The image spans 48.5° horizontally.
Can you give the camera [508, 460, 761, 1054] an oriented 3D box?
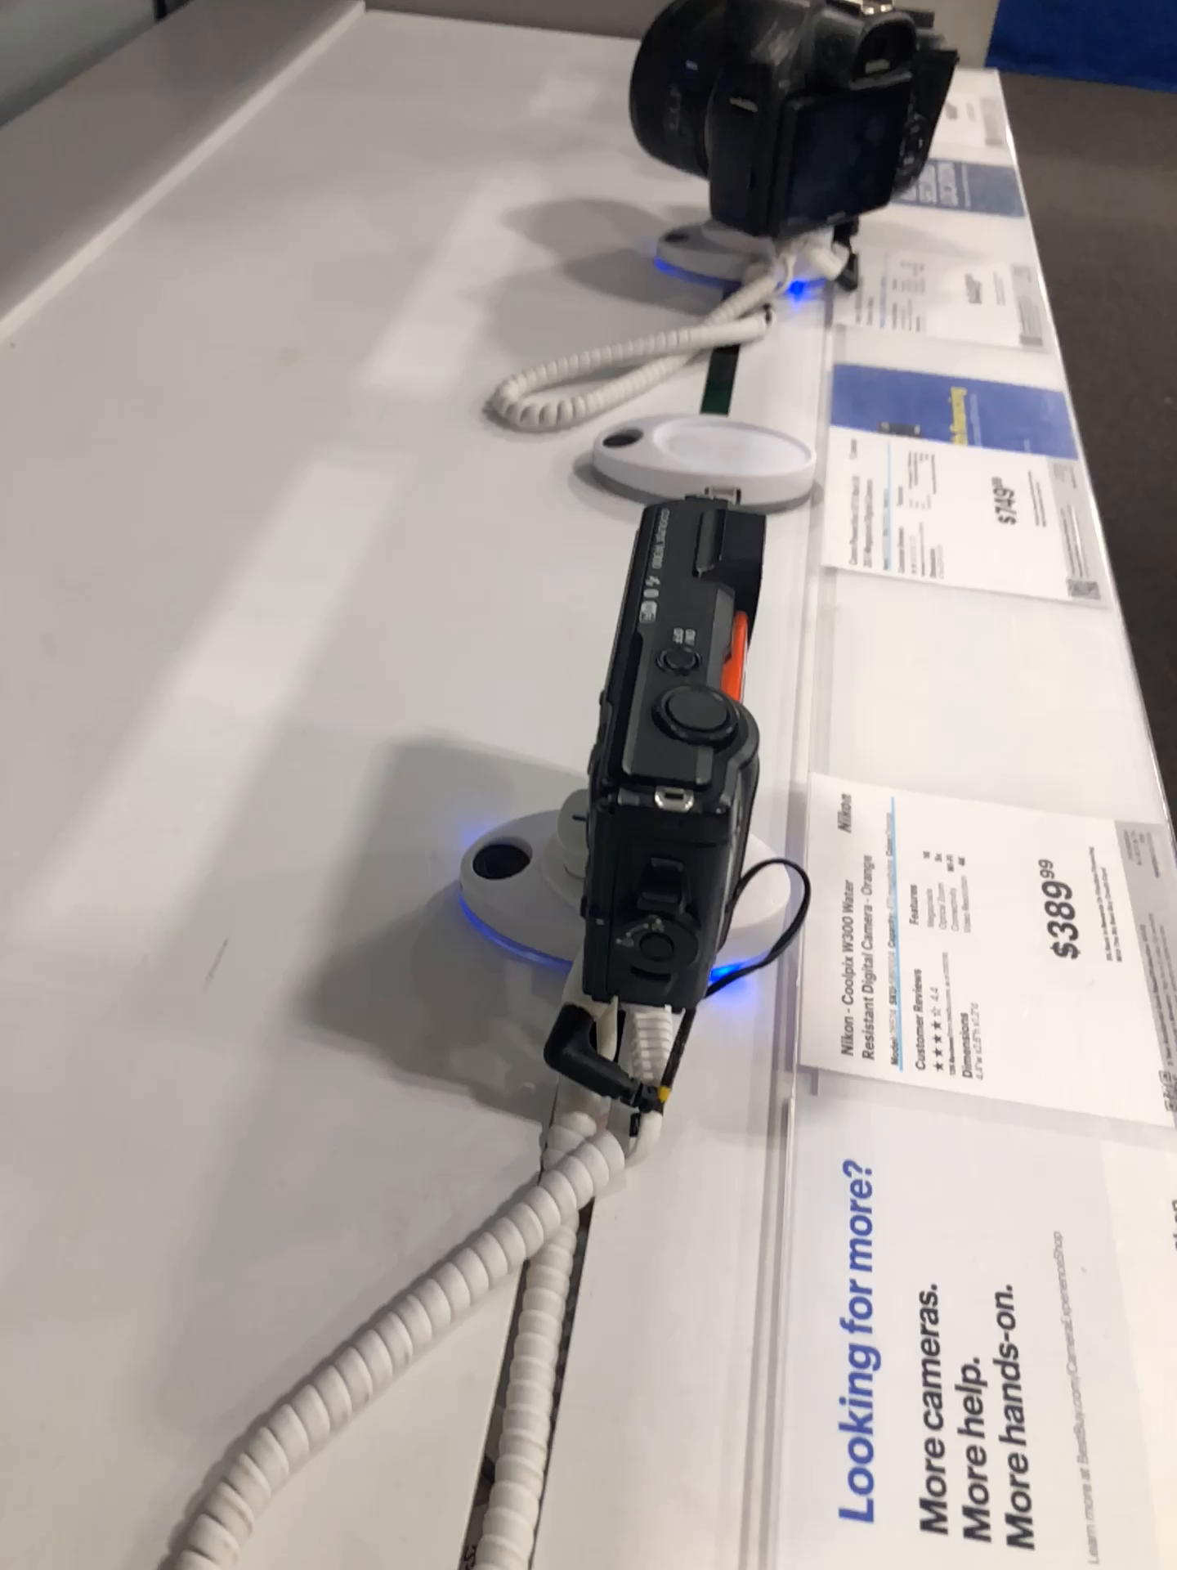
[{"bbox_3d":[0.012,-0.012,0.283,0.040,0.060,0.121,7,43,3],"label":"camera"}]
